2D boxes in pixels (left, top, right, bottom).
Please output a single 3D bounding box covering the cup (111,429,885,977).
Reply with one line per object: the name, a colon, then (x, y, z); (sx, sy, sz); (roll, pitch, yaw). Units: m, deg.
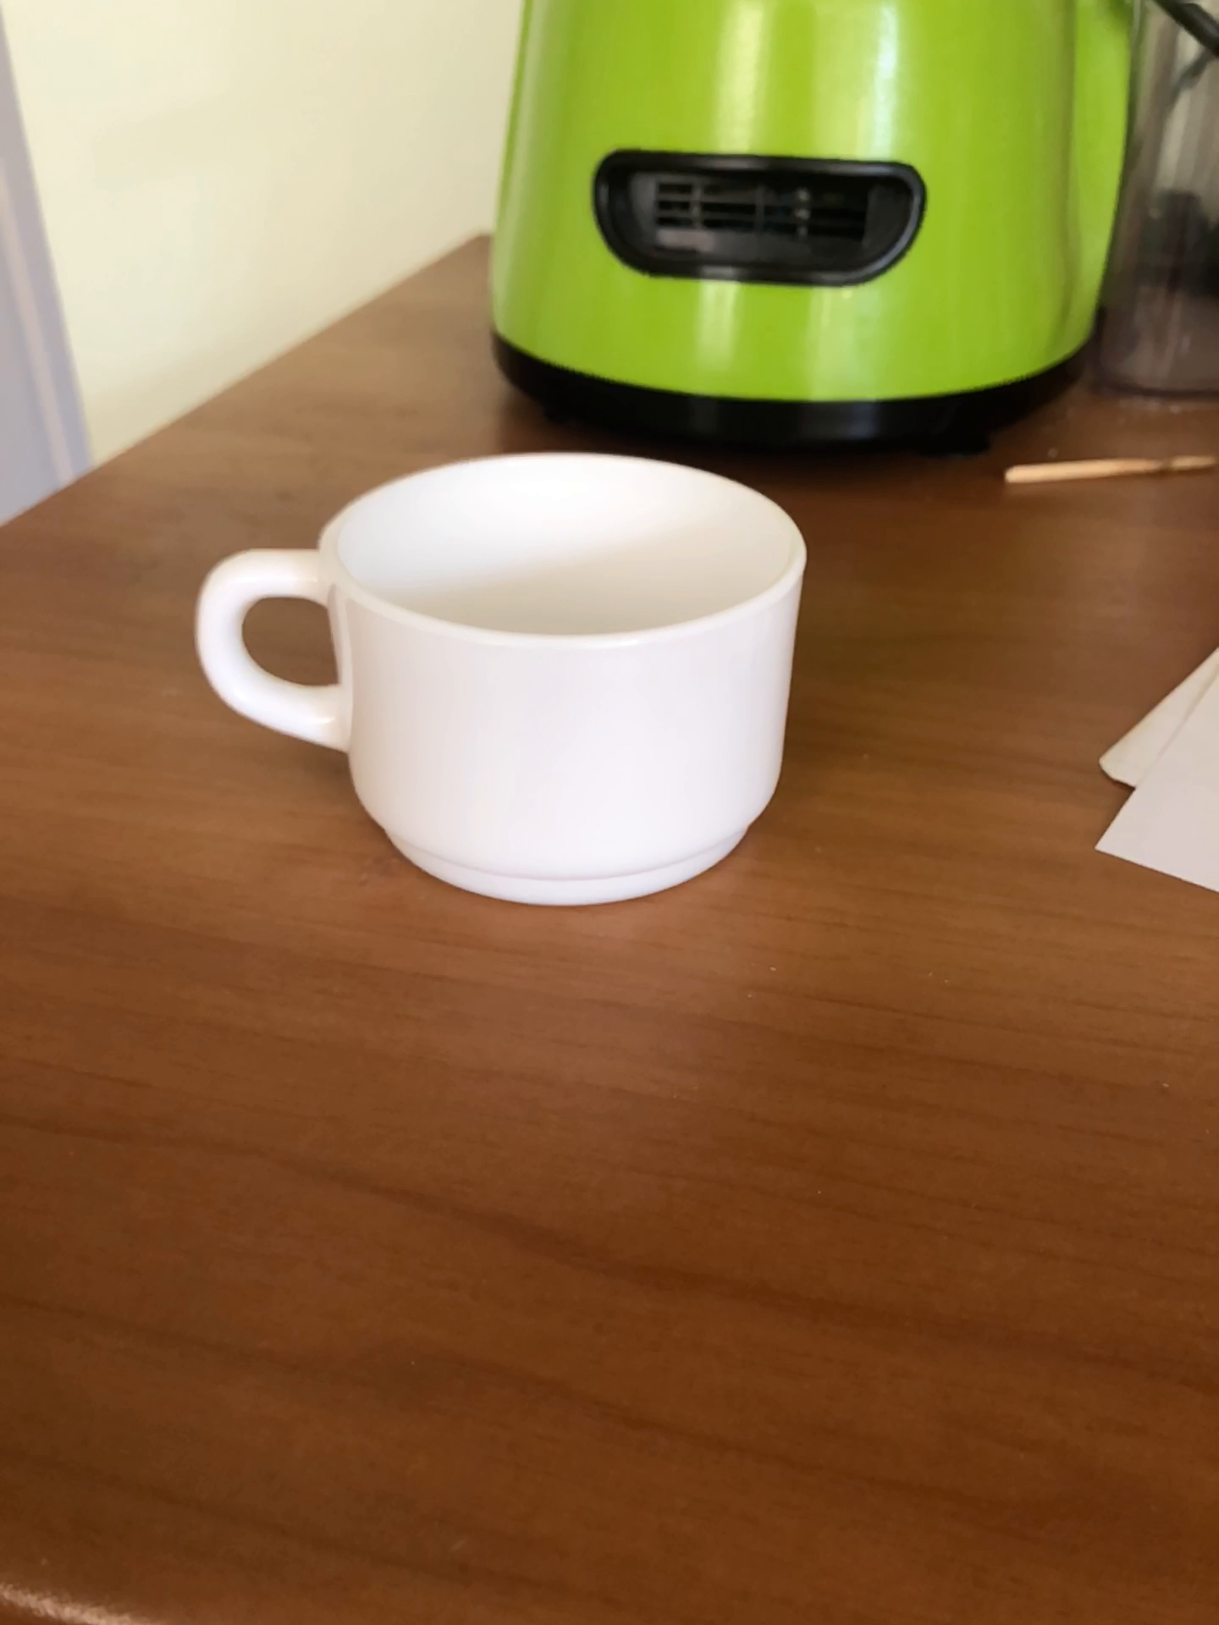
cup: (-0.012, -0.022, 0.222); (0.100, 0.050, 0.081); (4, 34, 4)
